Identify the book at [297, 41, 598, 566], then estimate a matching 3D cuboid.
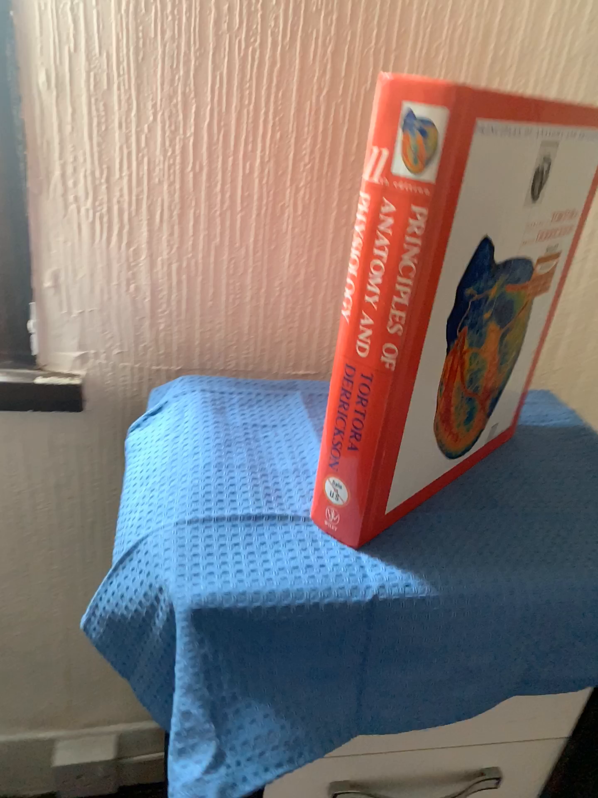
[{"bbox_3d":[0.123,-0.070,0.433,0.060,0.287,0.262,26,32,35],"label":"book"}]
